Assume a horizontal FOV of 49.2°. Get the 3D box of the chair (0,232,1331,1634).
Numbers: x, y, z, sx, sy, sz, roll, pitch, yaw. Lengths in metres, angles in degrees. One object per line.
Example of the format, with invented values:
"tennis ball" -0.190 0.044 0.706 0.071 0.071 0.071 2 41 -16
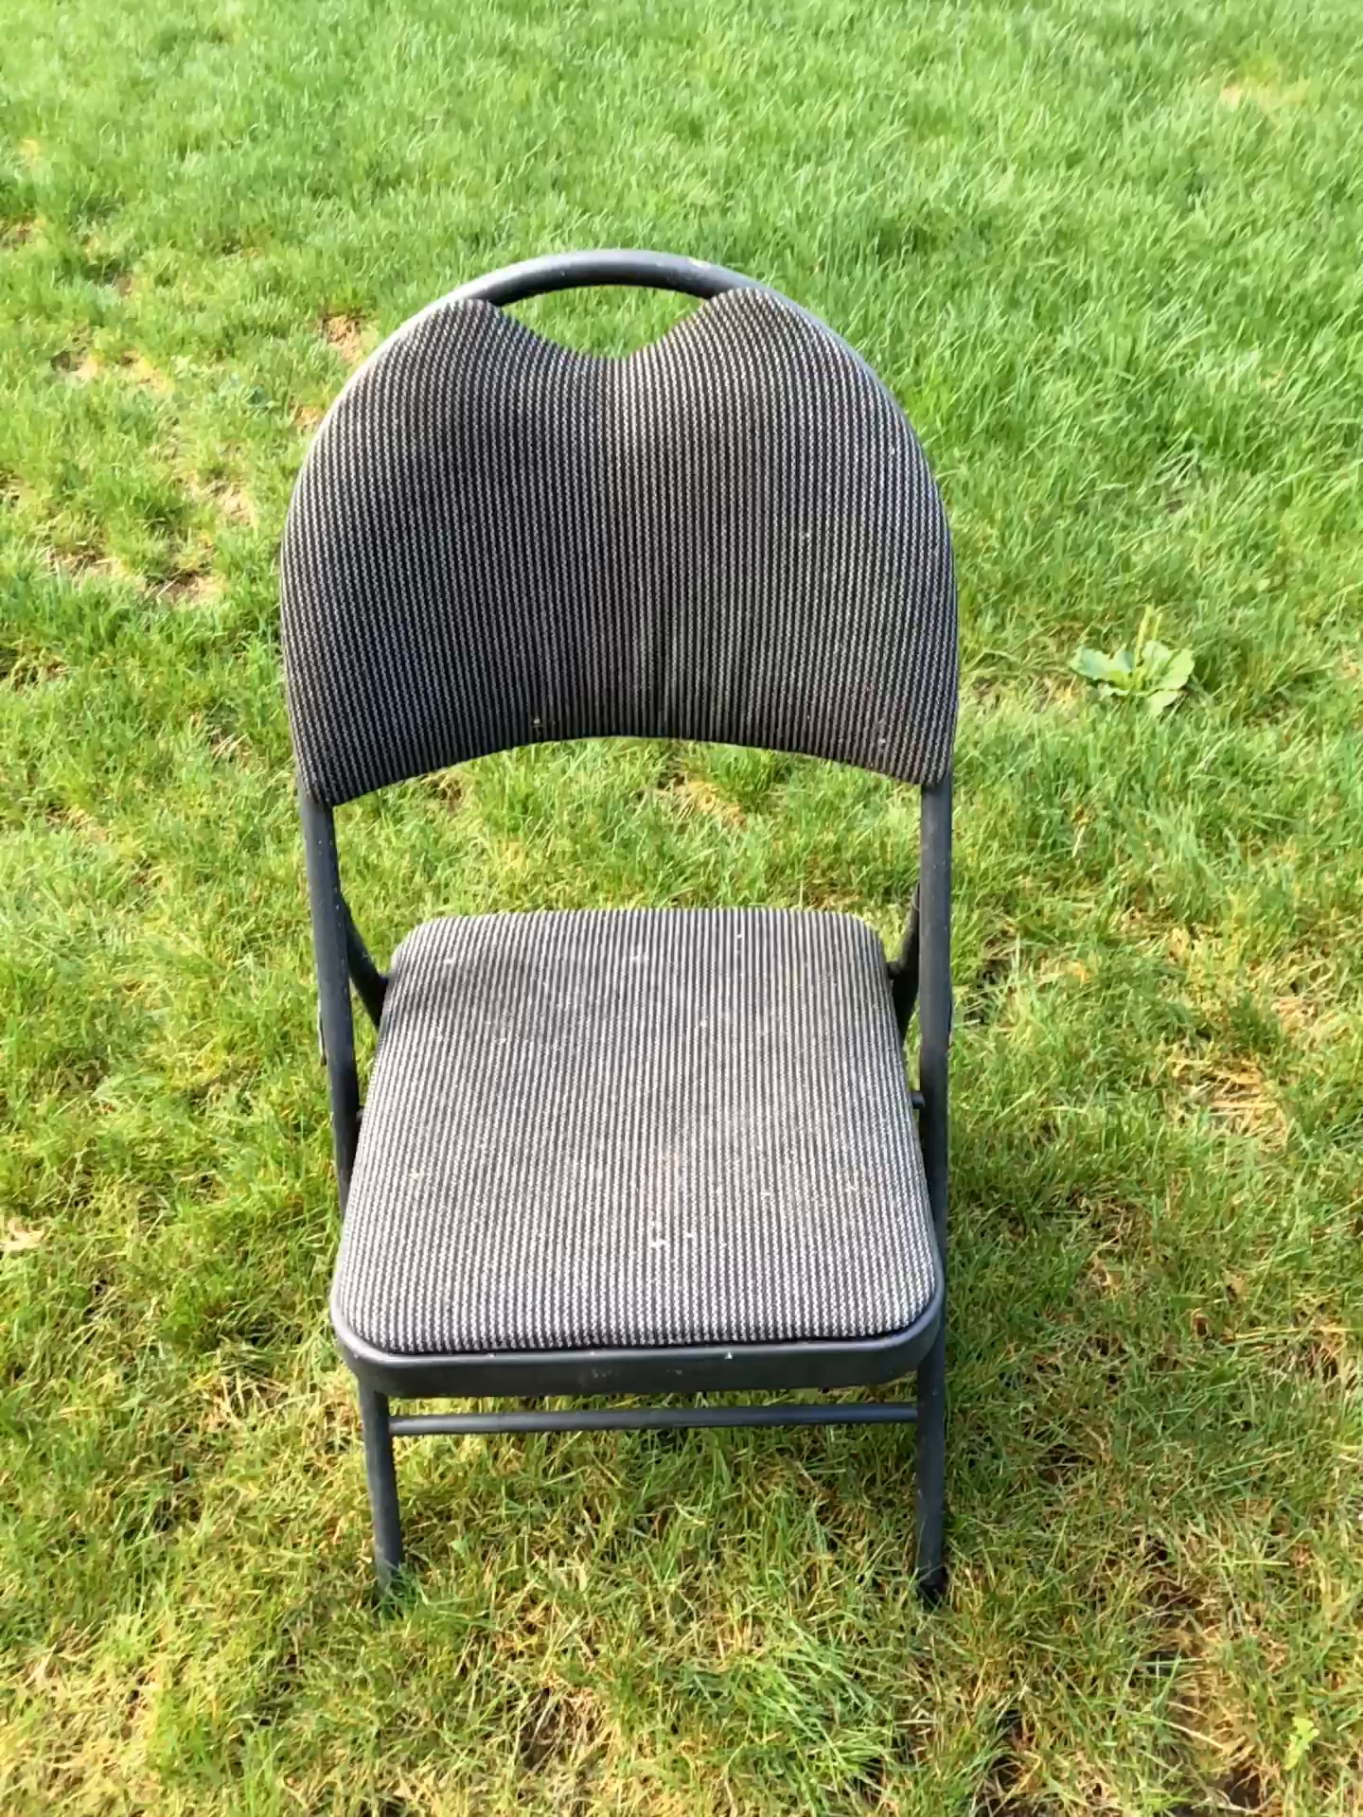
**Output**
"chair" -0.011 0.058 1.048 0.530 0.814 0.574 -1 44 1
